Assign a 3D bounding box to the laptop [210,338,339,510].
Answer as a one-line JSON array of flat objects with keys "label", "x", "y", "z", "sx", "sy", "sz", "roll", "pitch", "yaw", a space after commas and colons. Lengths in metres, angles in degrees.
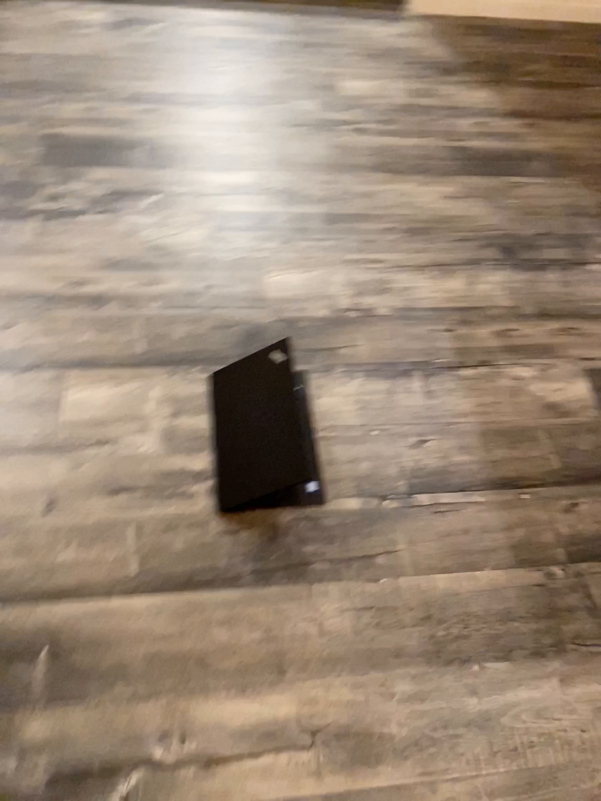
[{"label": "laptop", "x": -0.063, "y": 0.042, "z": 1.233, "sx": 0.218, "sy": 0.124, "sz": 0.315, "roll": -3, "pitch": 59, "yaw": -10}]
